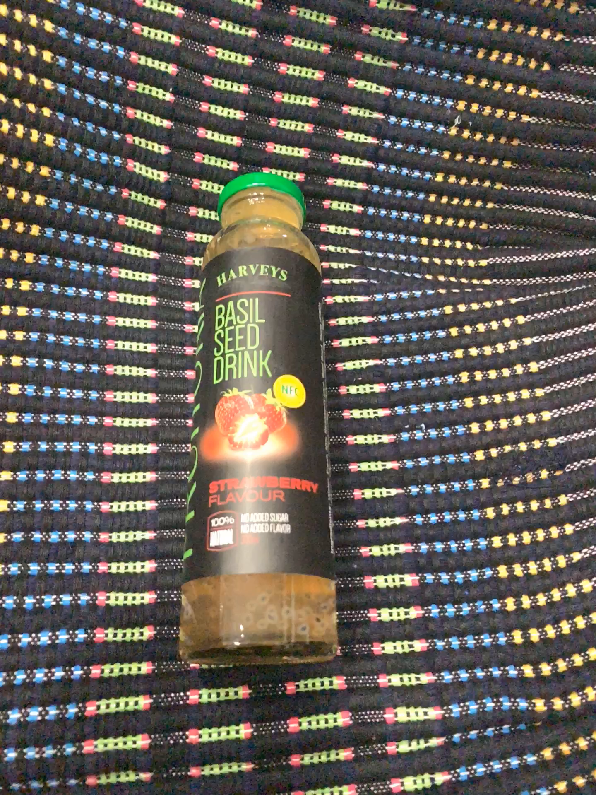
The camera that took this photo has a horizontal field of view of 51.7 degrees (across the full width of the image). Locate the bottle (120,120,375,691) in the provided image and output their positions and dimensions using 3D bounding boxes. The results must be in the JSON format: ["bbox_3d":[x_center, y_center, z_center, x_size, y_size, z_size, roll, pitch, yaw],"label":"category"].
[{"bbox_3d":[-0.014,-0.005,0.250,0.060,0.060,0.220,-13,59,22],"label":"bottle"}]
